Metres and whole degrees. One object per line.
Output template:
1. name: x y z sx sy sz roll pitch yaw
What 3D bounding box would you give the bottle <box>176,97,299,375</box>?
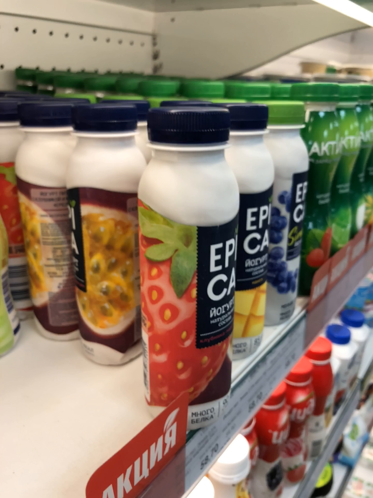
1. bottle: 0.030 -0.010 0.291 0.053 0.177 0.051 1 21 -1

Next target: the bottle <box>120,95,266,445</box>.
1. bottle: 0.002 0.011 0.233 0.050 0.180 0.050 1 21 -1
